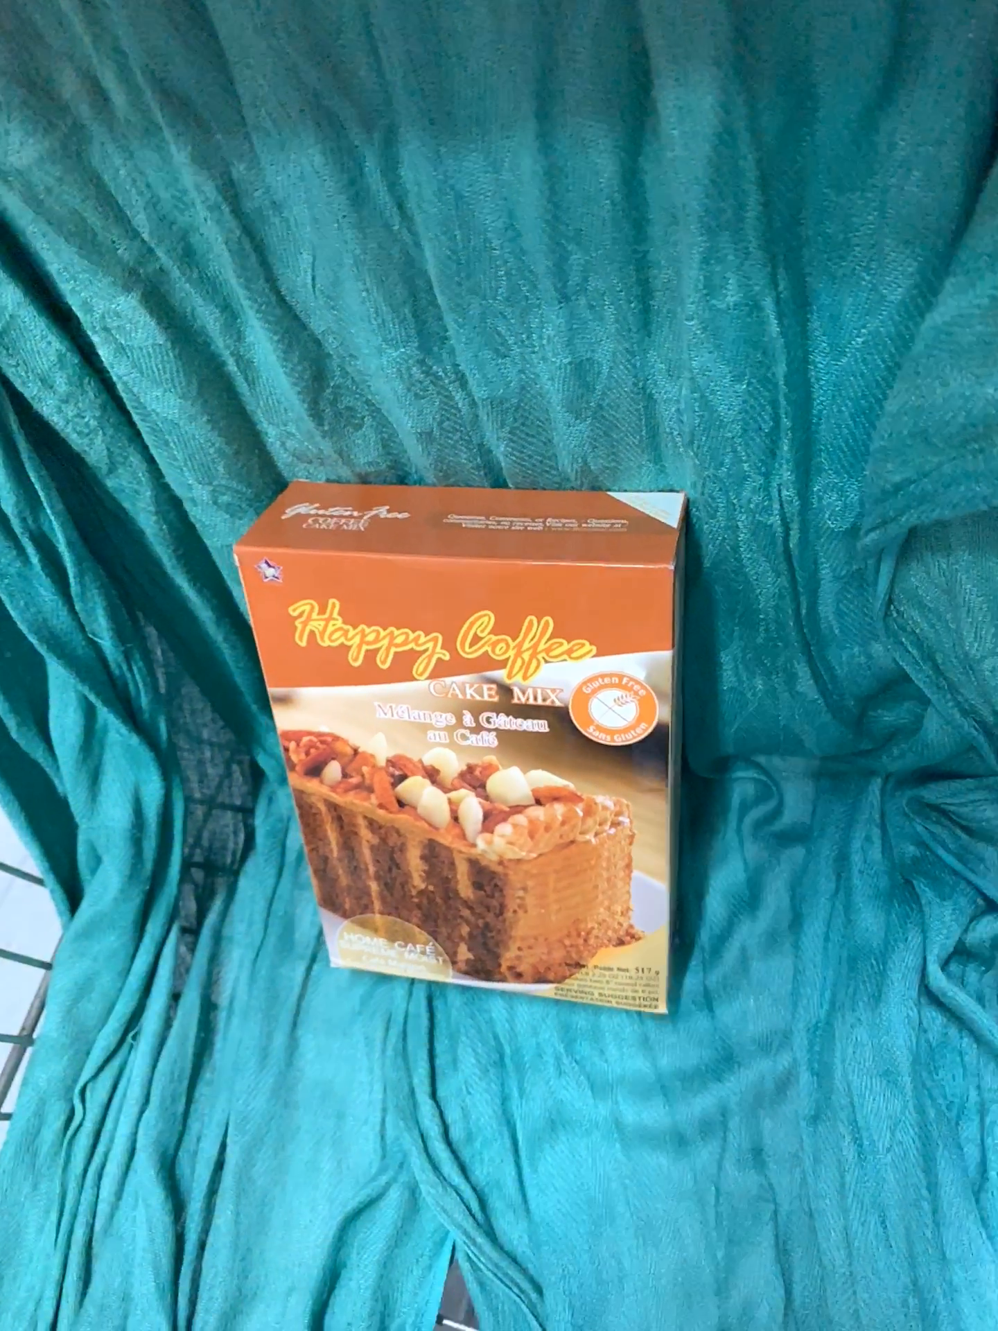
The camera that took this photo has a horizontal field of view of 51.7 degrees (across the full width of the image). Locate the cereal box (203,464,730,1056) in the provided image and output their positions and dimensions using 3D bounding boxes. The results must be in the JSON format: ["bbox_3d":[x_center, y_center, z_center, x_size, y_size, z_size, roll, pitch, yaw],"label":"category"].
[{"bbox_3d":[-0.002,0.039,0.364,0.150,0.210,0.050,4,34,13],"label":"cereal box"}]
